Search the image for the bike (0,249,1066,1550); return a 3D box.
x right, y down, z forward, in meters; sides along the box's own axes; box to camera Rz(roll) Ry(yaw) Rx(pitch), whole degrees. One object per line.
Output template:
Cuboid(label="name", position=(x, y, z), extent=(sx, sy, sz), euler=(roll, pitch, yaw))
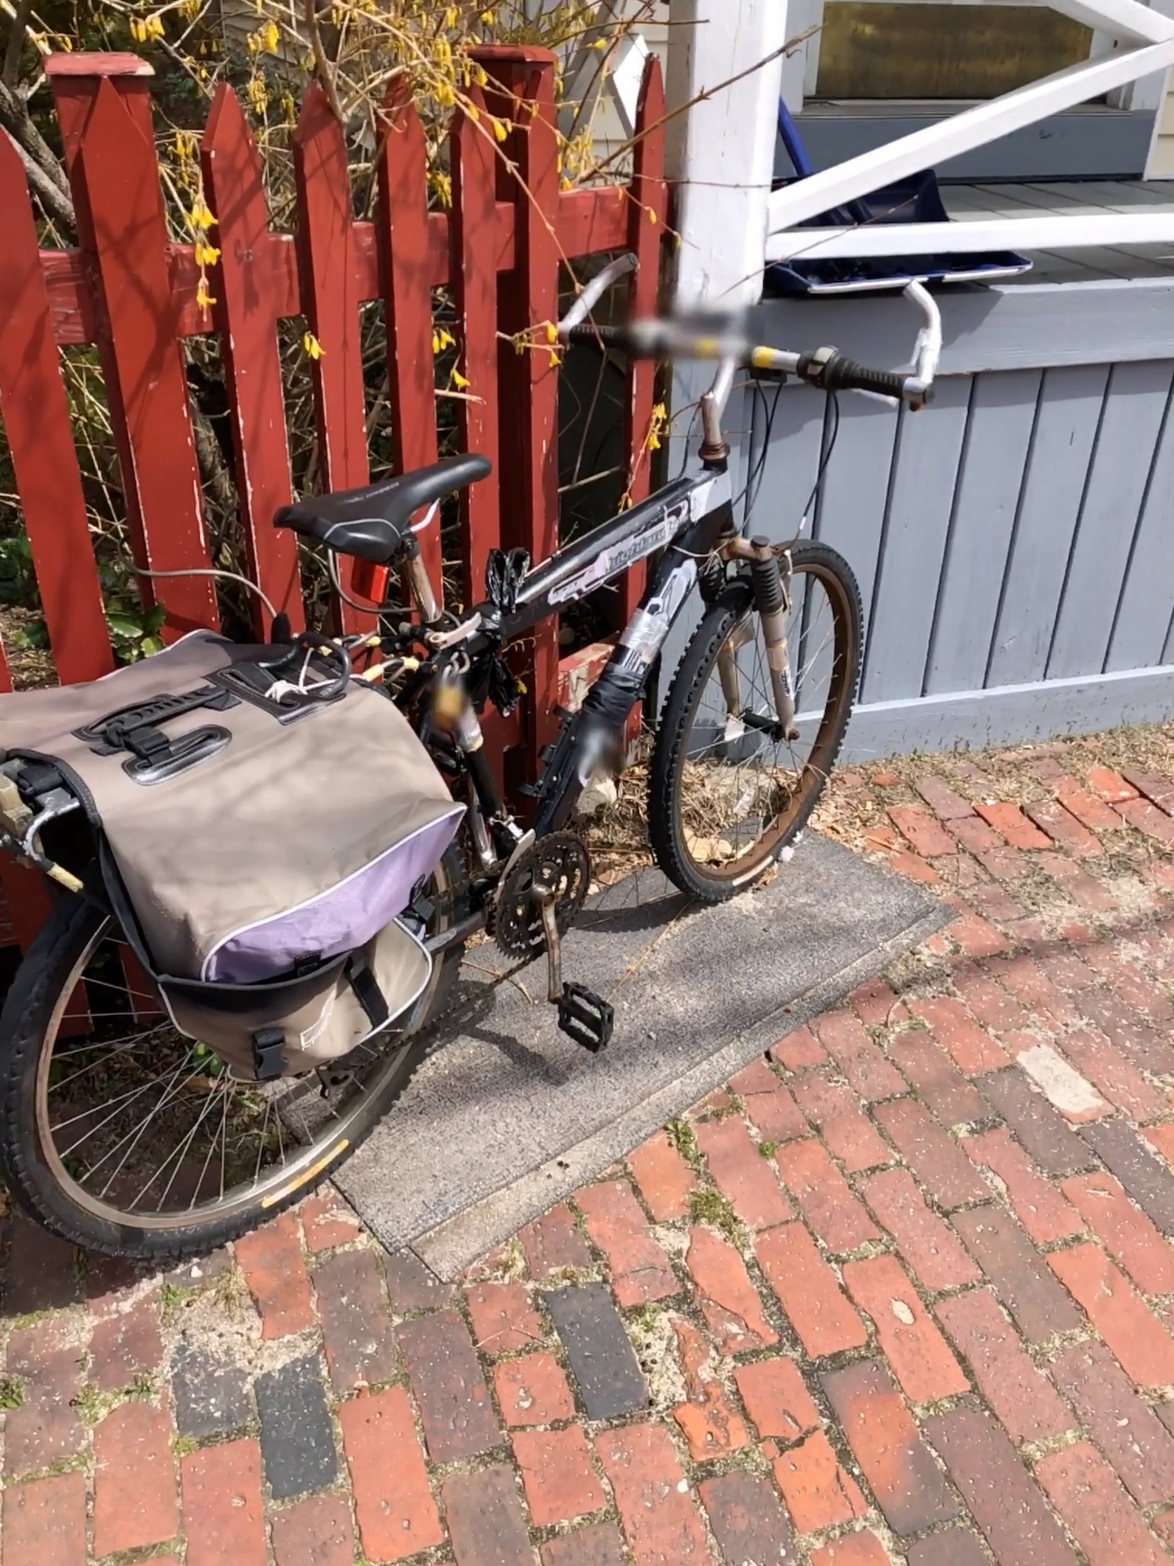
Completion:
Cuboid(label="bike", position=(-0.074, -0.083, 1.868), extent=(0.672, 1.000, 1.733), euler=(24, 39, 34))
